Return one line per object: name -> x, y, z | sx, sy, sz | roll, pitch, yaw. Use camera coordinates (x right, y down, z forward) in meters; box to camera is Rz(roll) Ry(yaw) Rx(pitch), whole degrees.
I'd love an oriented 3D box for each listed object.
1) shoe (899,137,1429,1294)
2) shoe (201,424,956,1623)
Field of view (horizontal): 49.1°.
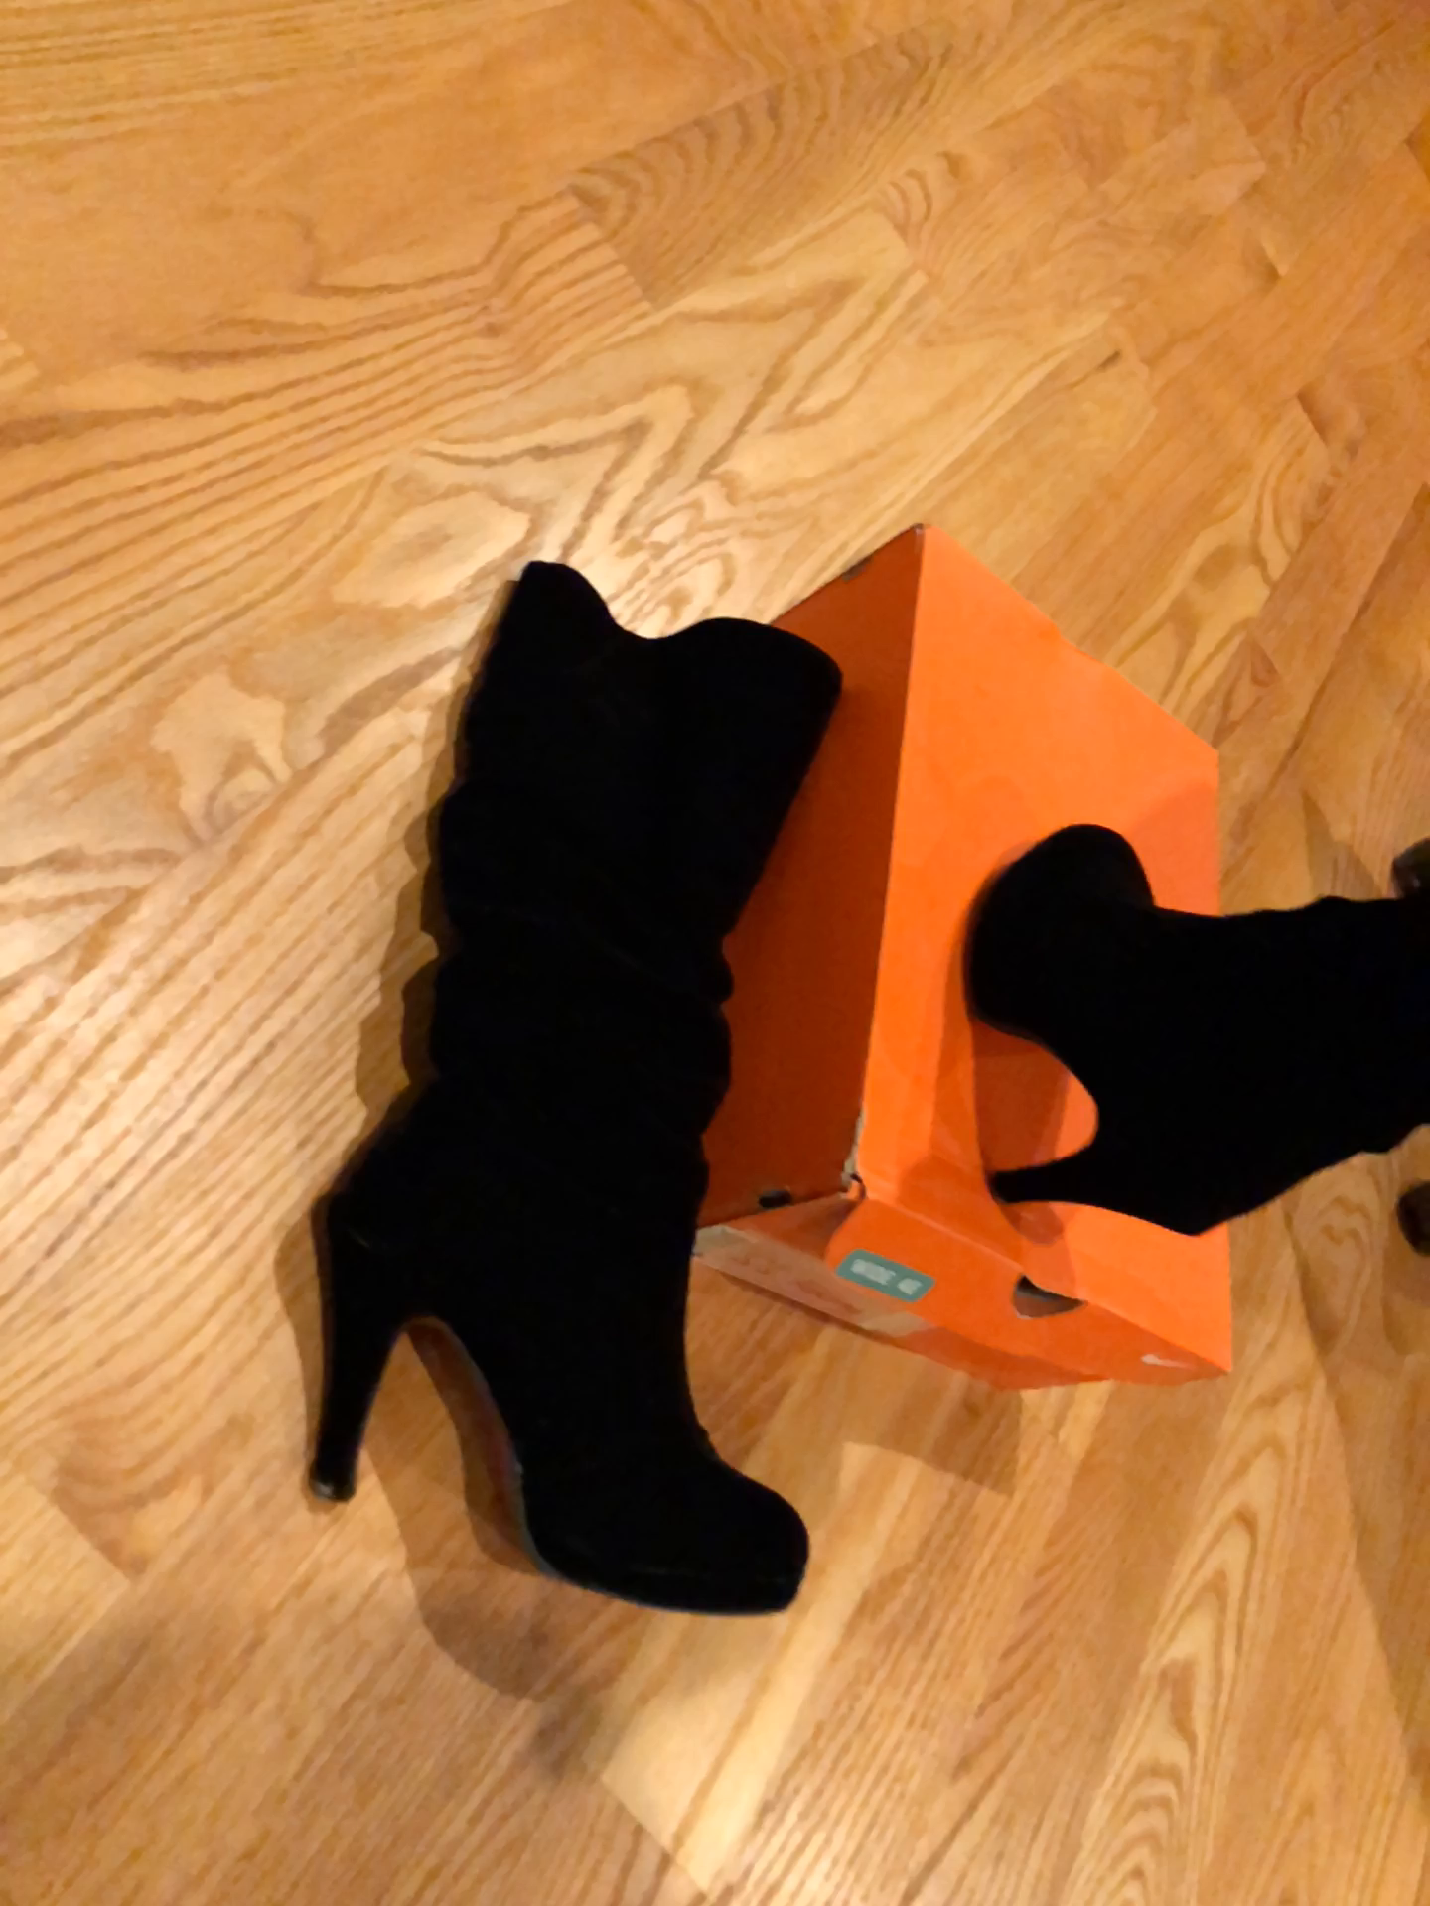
shoe -> 0.248, -0.038, 0.503 | 0.089, 0.397, 0.217 | 33, 53, -28
shoe -> -0.024, 0.021, 0.595 | 0.206, 0.089, 0.400 | 27, 56, -30
